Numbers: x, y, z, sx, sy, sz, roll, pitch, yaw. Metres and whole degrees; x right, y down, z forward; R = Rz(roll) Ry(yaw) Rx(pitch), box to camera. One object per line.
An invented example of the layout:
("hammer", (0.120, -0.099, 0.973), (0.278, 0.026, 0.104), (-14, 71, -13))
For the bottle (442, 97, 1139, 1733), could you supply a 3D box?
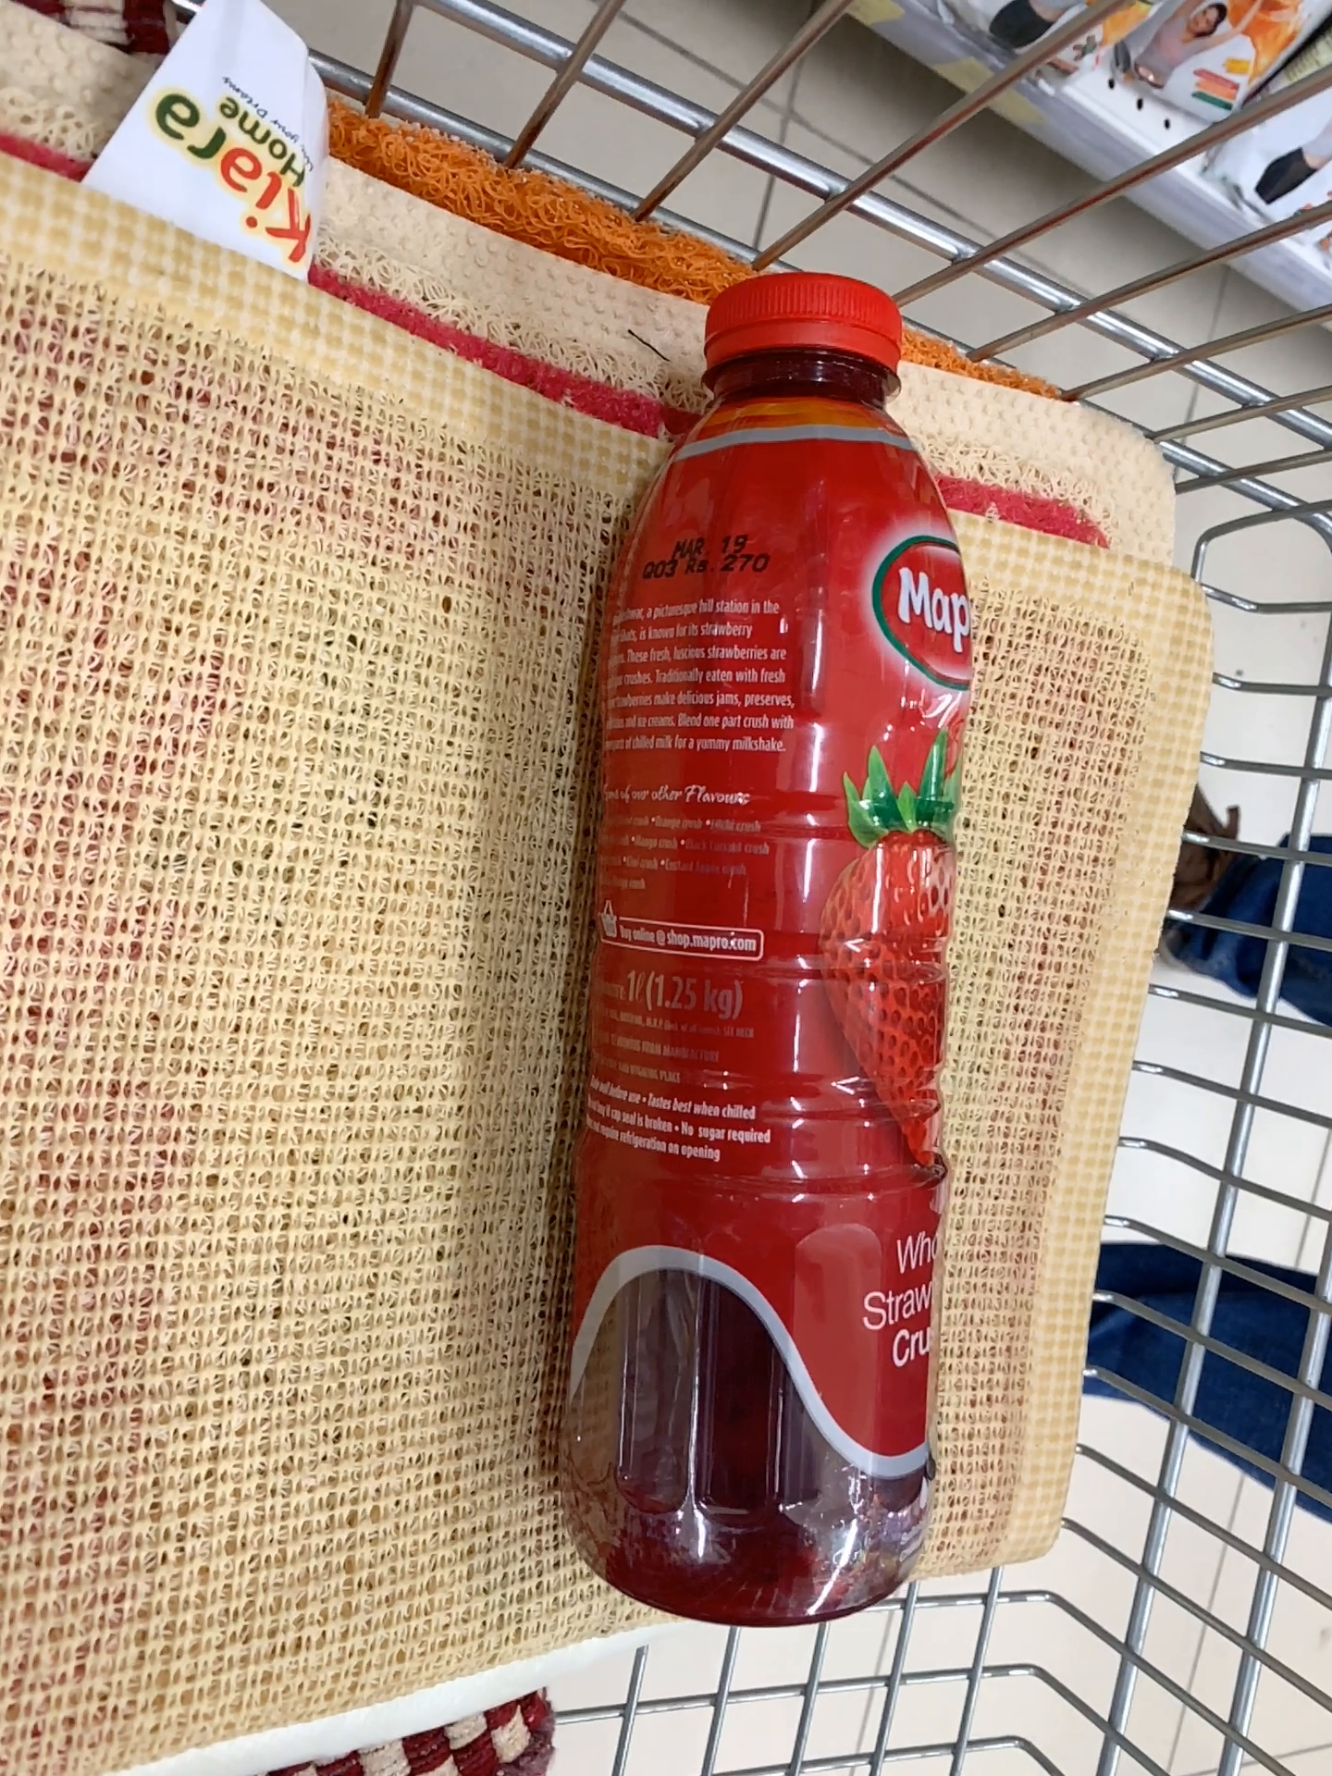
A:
("bottle", (0.026, 0.005, 0.265), (0.090, 0.070, 0.250), (0, 98, -56))
